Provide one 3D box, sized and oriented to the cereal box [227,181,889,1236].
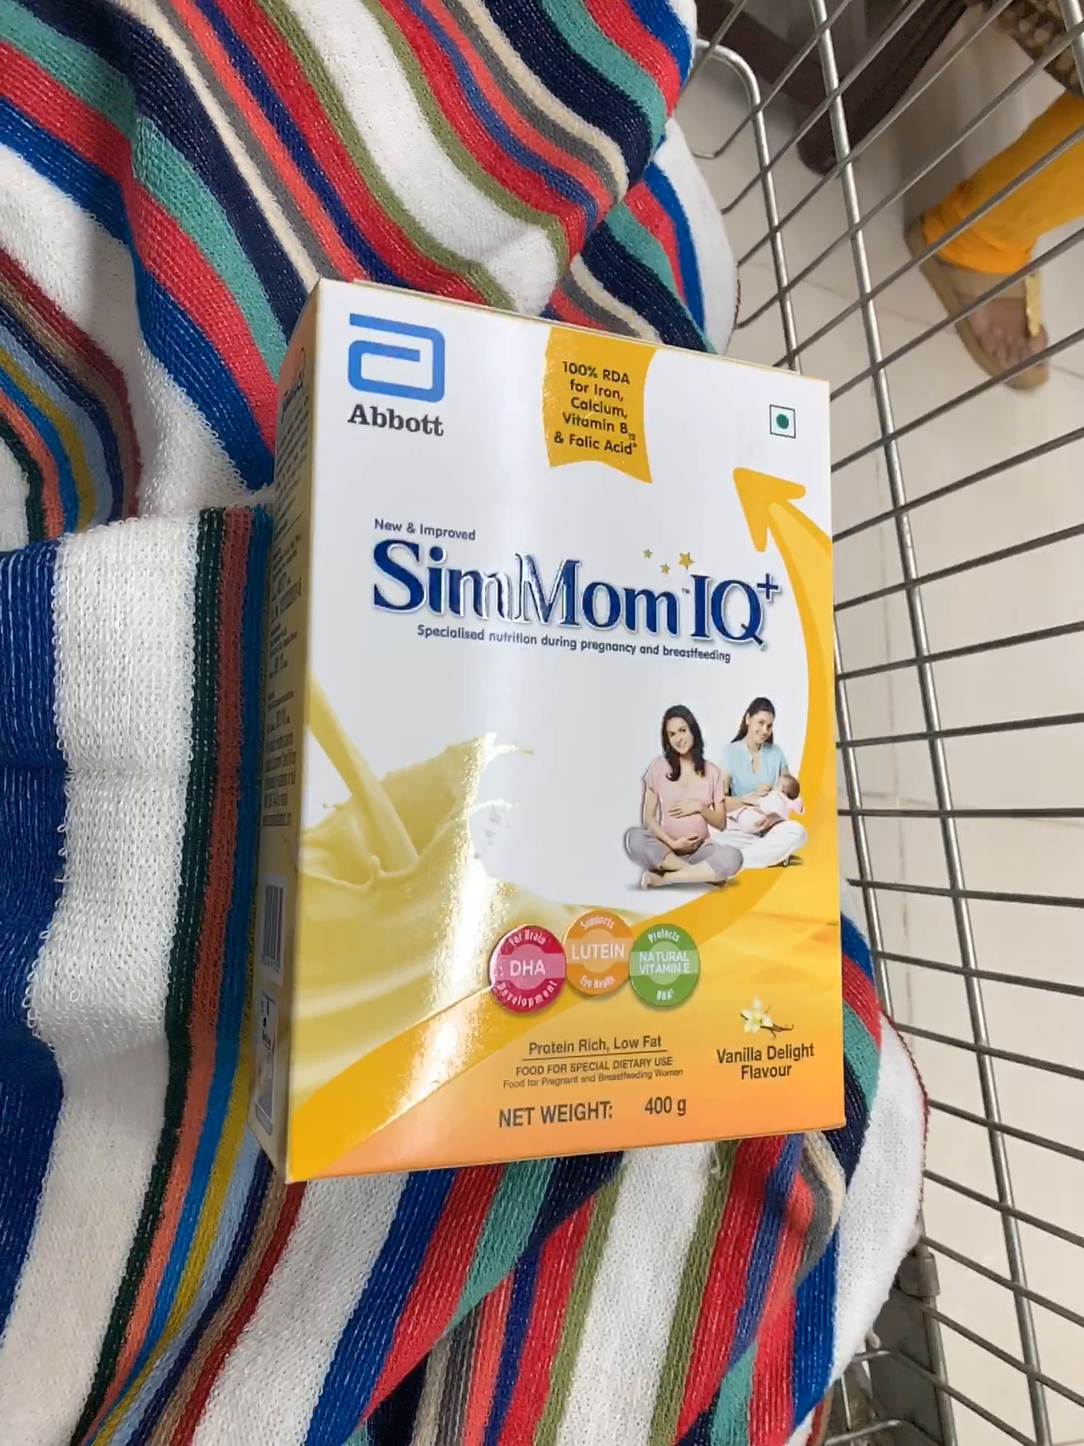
[{"bbox_3d":[0.007,-0.001,0.261,0.140,0.050,0.200,4,83,-23],"label":"cereal box"}]
